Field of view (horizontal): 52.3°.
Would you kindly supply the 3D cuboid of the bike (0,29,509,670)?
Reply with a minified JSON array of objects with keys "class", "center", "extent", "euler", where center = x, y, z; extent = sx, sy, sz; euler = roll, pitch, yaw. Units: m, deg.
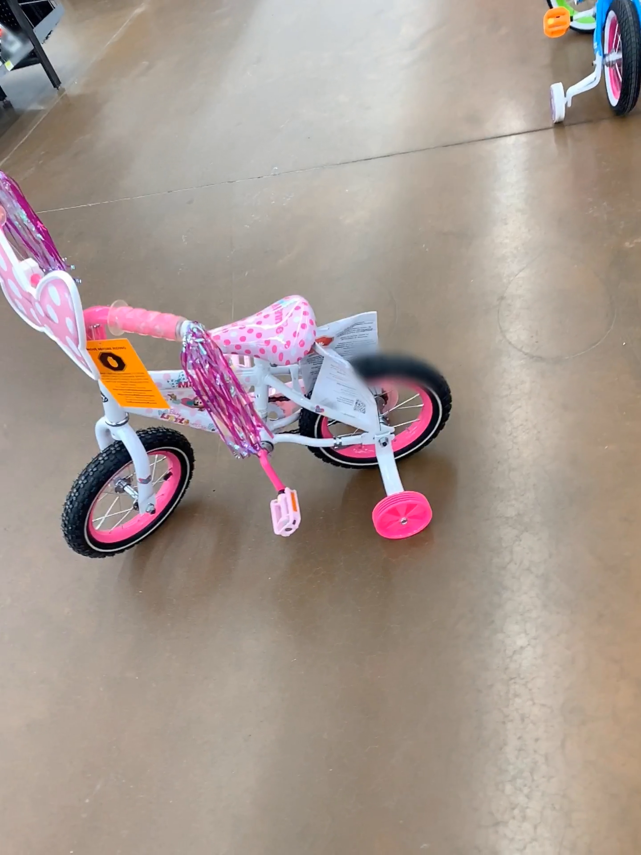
[{"class":"bike","center":[-0.171,-0.059,1.109],"extent":[0.776,0.707,0.430],"euler":[-23,46,4]}]
